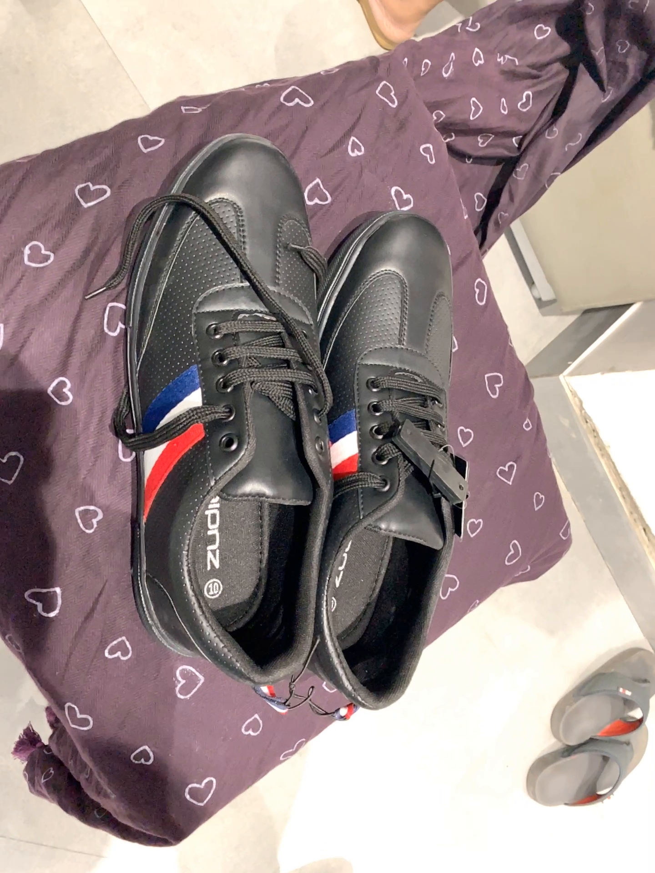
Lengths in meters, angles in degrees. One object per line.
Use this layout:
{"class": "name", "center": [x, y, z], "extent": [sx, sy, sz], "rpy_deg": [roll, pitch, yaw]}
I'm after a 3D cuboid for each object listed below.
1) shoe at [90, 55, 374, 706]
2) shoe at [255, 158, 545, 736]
{"class": "shoe", "center": [-0.057, -0.025, 0.387], "extent": [0.120, 0.090, 0.310], "rpy_deg": [4, 89, -29]}
{"class": "shoe", "center": [0.044, 0.010, 0.406], "extent": [0.110, 0.080, 0.300], "rpy_deg": [10, 87, -28]}
